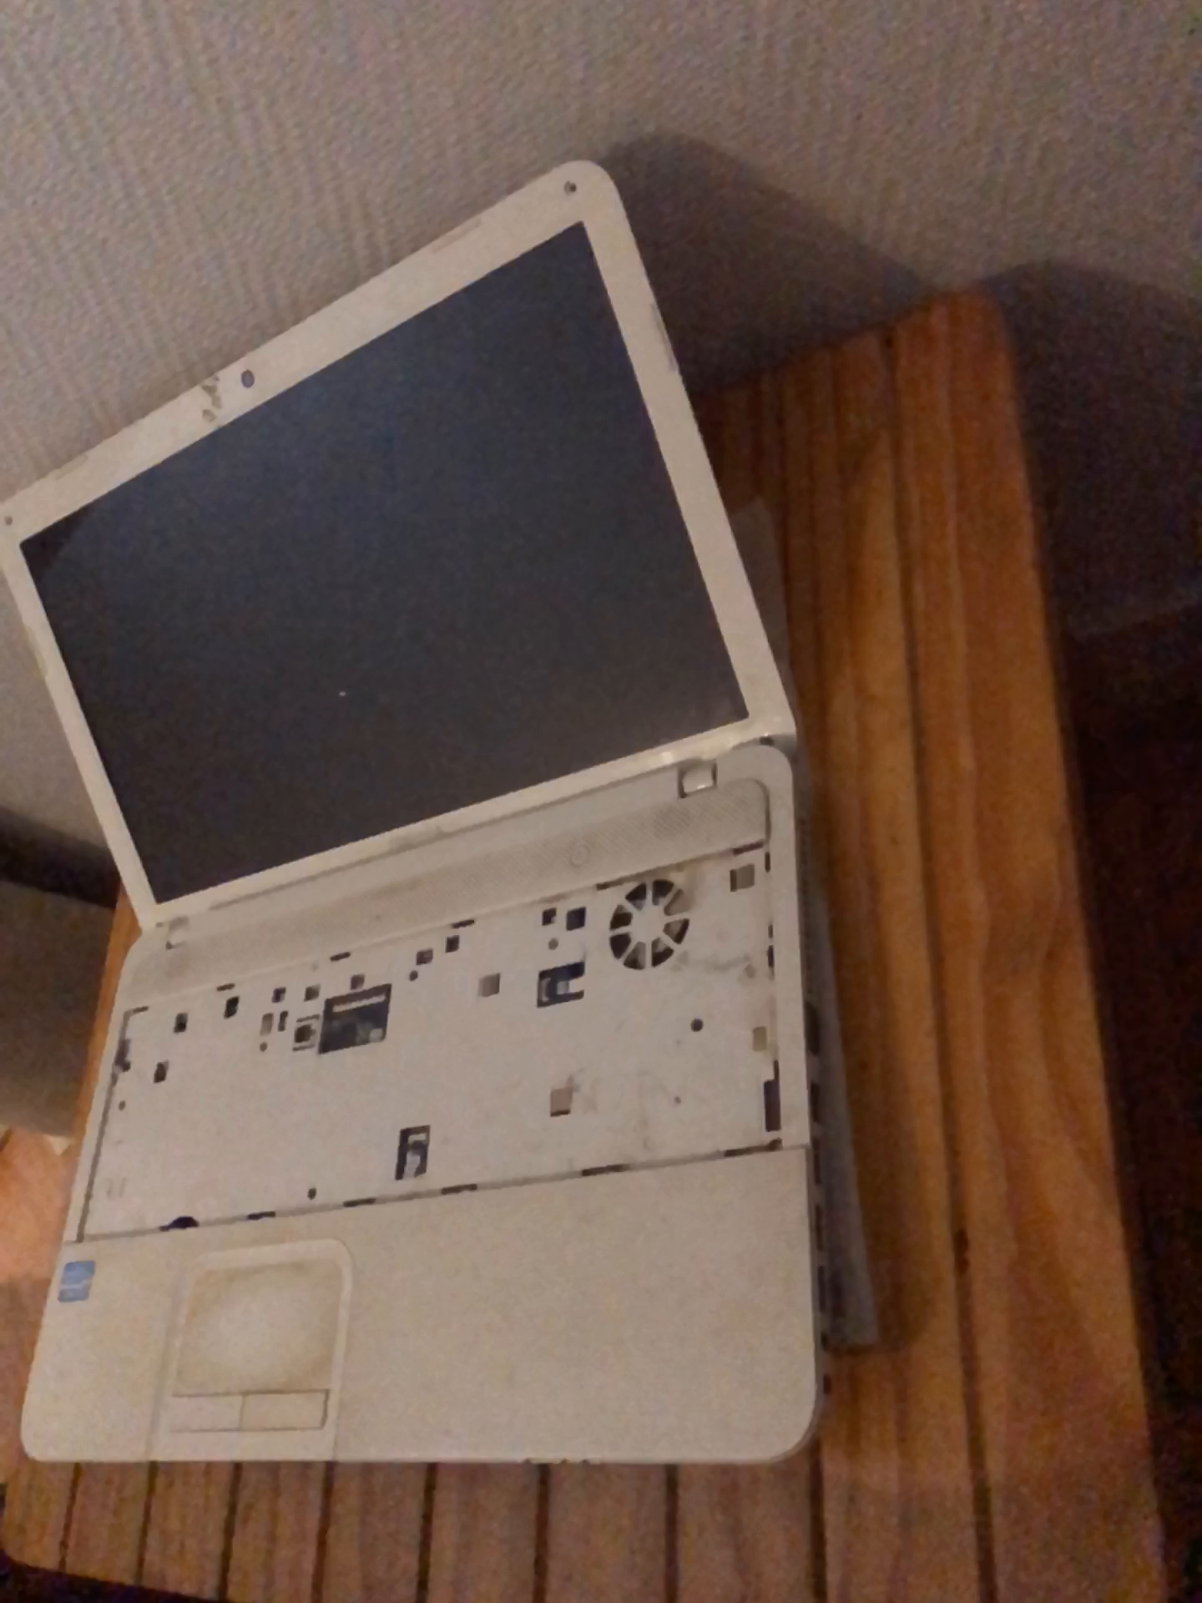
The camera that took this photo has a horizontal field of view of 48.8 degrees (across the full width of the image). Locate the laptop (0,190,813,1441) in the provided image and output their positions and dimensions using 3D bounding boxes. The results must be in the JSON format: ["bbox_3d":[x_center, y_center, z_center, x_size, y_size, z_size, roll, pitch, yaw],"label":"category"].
[{"bbox_3d":[-0.119,0.023,0.532,0.372,0.118,0.419,-18,56,31],"label":"laptop"}]
